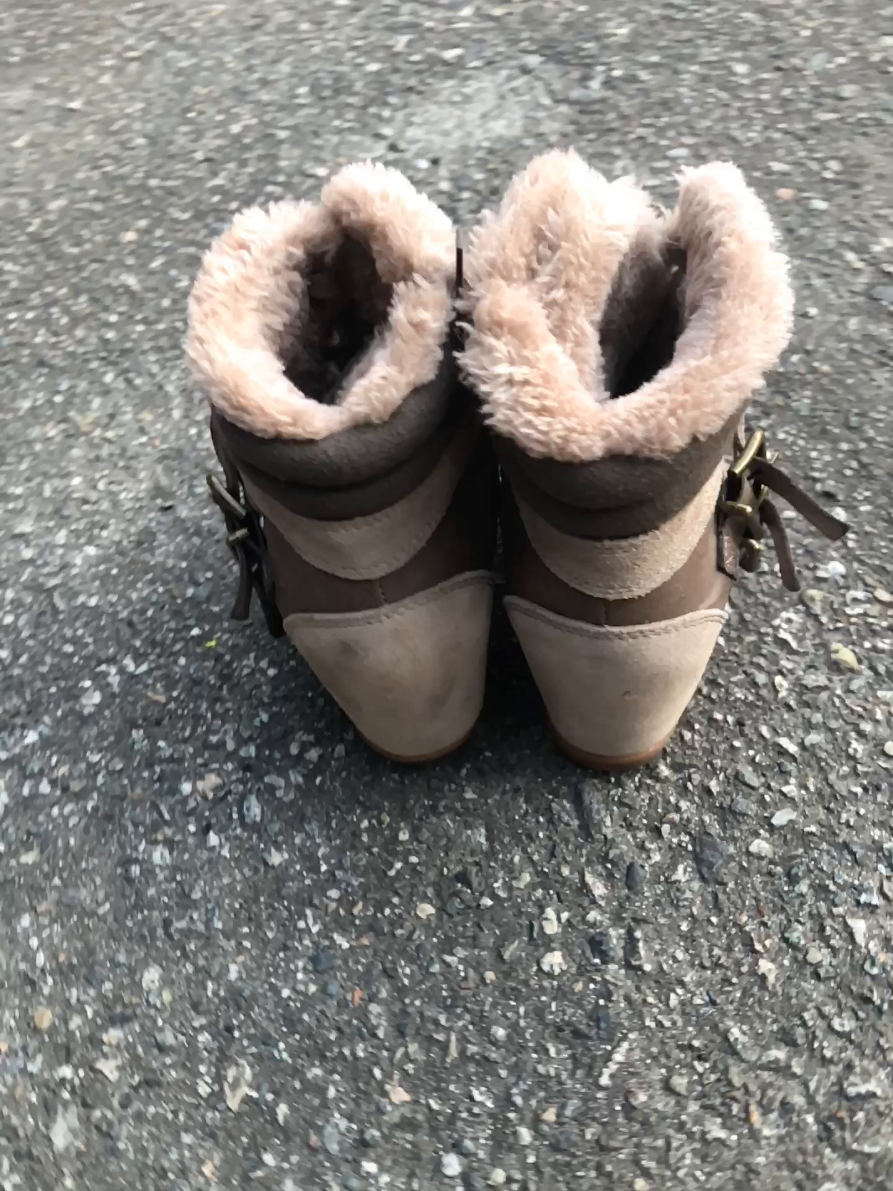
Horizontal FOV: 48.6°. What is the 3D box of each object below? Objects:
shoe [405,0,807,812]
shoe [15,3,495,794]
[{"bbox_3d":[0.067,-0.071,0.361,0.090,0.179,0.231,4,53,12],"label":"shoe"},{"bbox_3d":[-0.040,-0.072,0.375,0.100,0.179,0.231,-3,52,7],"label":"shoe"}]
